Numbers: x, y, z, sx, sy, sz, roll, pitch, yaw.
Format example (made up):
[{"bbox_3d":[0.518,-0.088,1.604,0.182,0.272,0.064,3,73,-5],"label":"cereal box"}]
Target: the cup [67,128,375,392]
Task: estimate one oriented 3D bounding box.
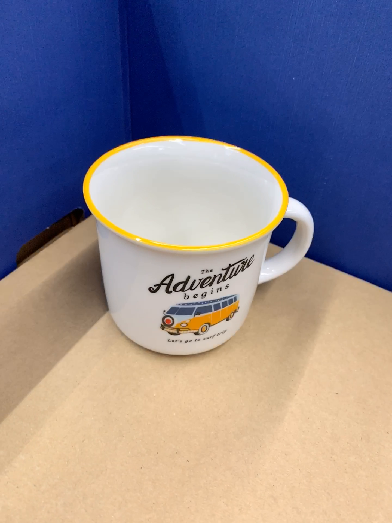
[{"bbox_3d":[0.001,-0.009,0.224,0.124,0.083,0.102,-8,42,-14],"label":"cup"}]
